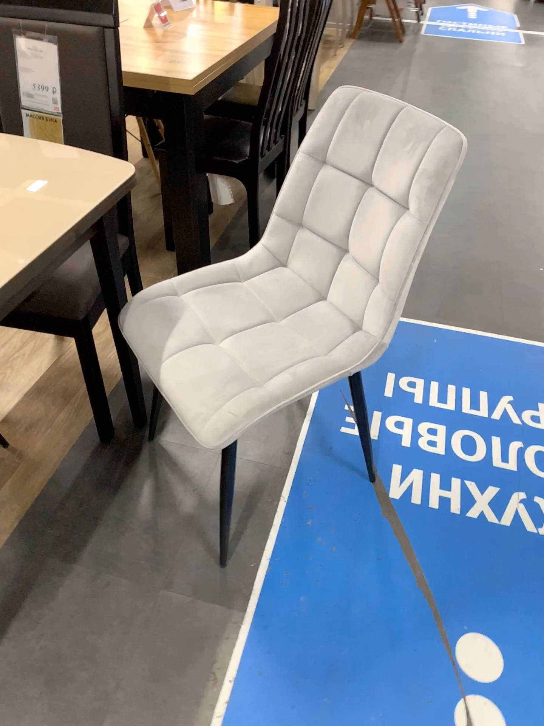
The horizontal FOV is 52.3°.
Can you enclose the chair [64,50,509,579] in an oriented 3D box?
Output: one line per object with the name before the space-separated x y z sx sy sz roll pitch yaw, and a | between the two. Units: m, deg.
chair | 0.000 -0.087 1.276 0.601 0.974 0.482 -21 47 -24
